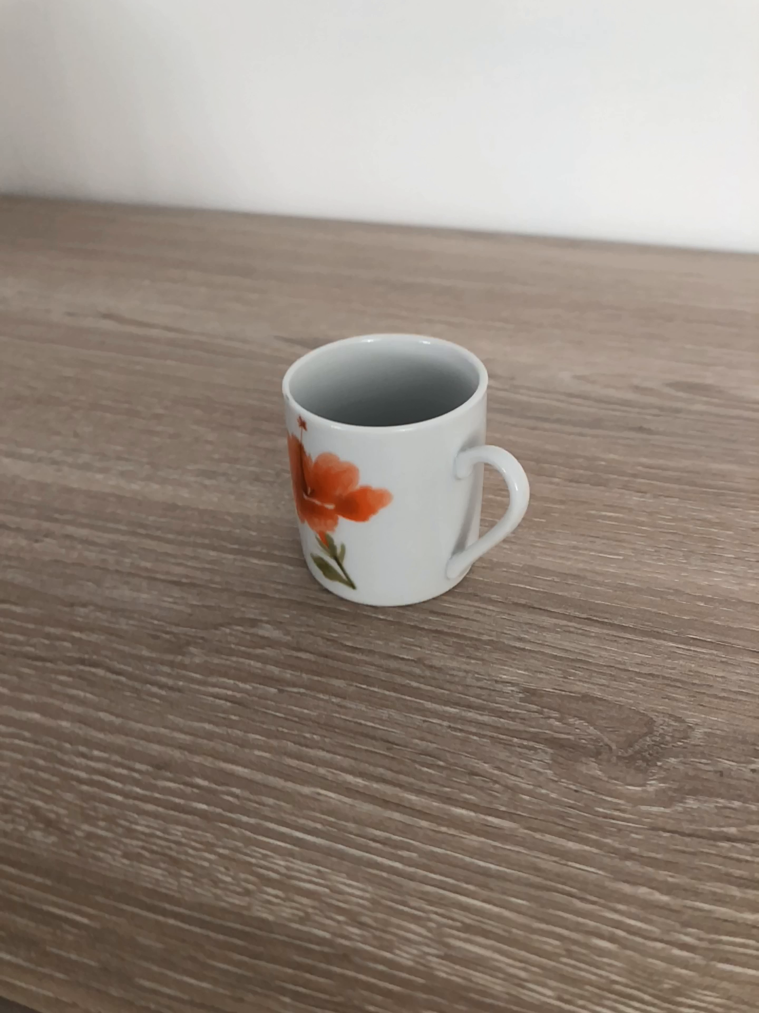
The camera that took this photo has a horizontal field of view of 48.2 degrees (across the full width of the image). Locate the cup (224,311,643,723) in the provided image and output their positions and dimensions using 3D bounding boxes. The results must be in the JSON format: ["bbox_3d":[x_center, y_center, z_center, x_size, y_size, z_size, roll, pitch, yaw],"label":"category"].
[{"bbox_3d":[0.012,-0.003,0.219,0.060,0.060,0.080,-31,44,-35],"label":"cup"}]
